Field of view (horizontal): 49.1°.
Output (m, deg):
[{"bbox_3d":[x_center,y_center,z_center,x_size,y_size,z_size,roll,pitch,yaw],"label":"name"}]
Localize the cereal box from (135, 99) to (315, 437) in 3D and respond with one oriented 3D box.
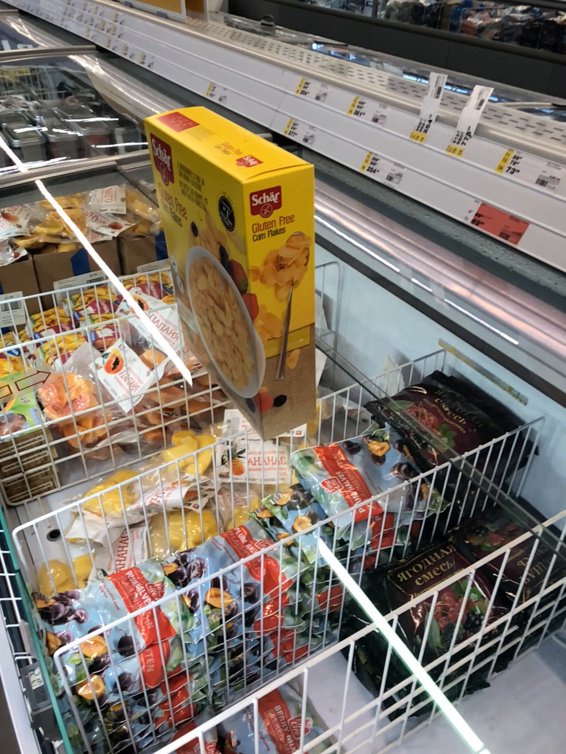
[{"bbox_3d":[-0.051,-0.102,0.565,0.060,0.238,0.201,-21,41,-22],"label":"cereal box"}]
